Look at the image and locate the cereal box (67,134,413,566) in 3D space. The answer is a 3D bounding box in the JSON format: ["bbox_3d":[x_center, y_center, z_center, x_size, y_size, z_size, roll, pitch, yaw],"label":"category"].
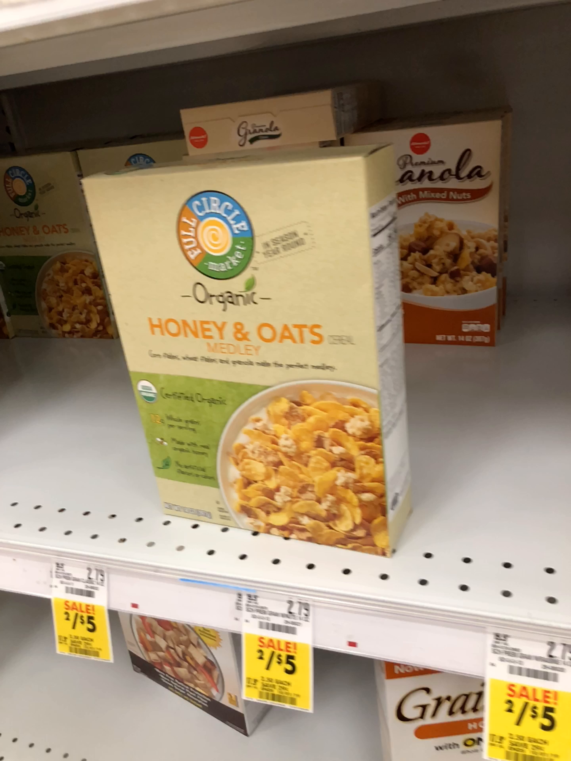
[{"bbox_3d":[-0.020,-0.016,0.424,0.190,0.259,0.060,5,27,25],"label":"cereal box"}]
